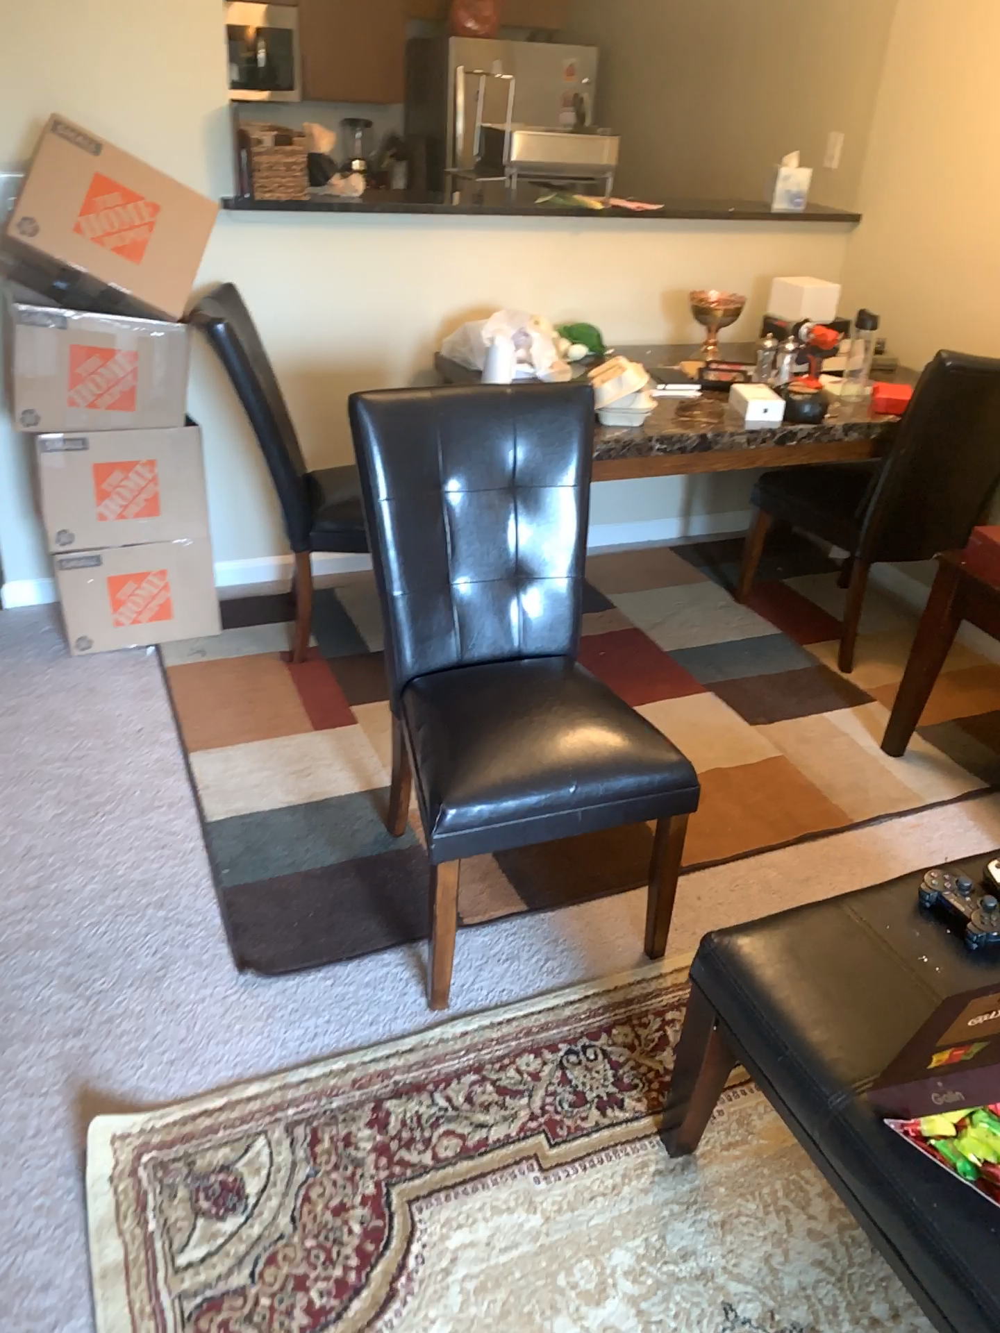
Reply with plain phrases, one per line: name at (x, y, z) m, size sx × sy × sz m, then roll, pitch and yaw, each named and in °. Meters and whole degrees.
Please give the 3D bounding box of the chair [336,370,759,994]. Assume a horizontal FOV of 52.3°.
chair at (0.014, -0.009, 1.919) m, size 0.490 × 0.915 × 0.654 m, roll -8°, pitch 31°, yaw -20°
